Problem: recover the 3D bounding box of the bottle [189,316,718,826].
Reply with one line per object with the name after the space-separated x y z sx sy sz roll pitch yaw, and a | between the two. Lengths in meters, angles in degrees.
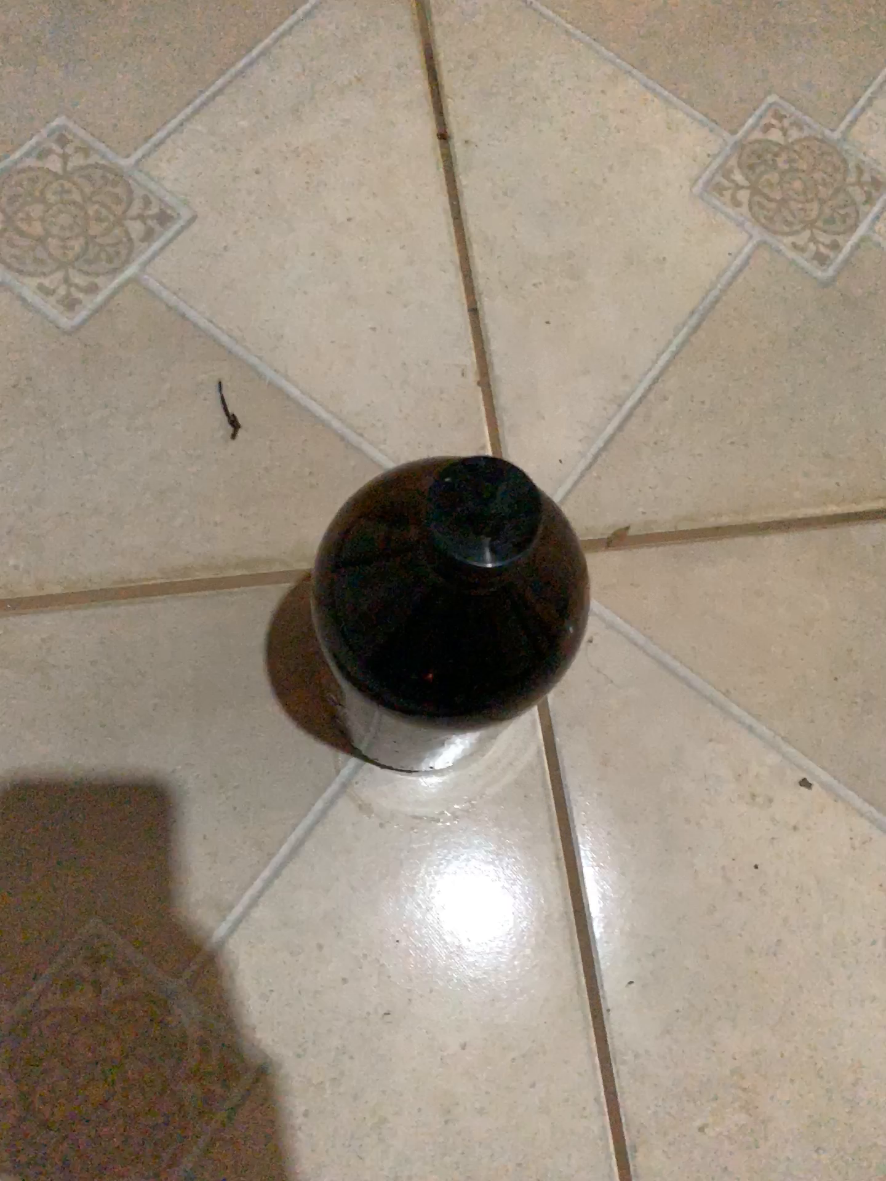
-0.003 0.017 0.321 0.100 0.210 0.090 26 74 2 | bottle
